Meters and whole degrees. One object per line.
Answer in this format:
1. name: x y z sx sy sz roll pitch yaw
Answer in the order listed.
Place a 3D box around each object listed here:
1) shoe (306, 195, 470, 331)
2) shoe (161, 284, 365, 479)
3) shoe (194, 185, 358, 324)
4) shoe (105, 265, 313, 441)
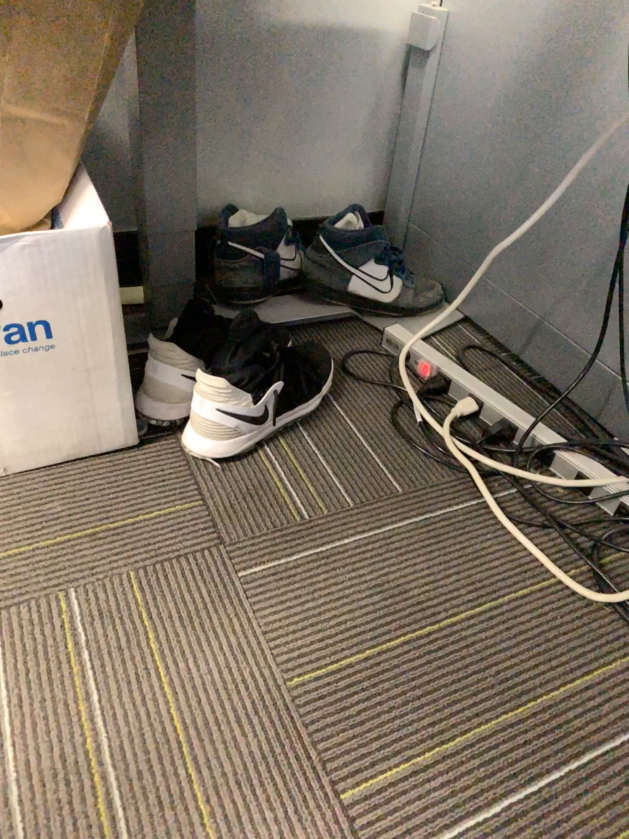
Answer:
1. shoe: 0.129 -0.295 1.218 0.260 0.159 0.131 11 38 -8
2. shoe: -0.062 -0.063 0.880 0.100 0.129 0.291 30 44 25
3. shoe: -0.066 -0.327 1.229 0.130 0.169 0.331 25 35 21
4. shoe: -0.144 -0.109 0.948 0.100 0.129 0.301 33 45 28
